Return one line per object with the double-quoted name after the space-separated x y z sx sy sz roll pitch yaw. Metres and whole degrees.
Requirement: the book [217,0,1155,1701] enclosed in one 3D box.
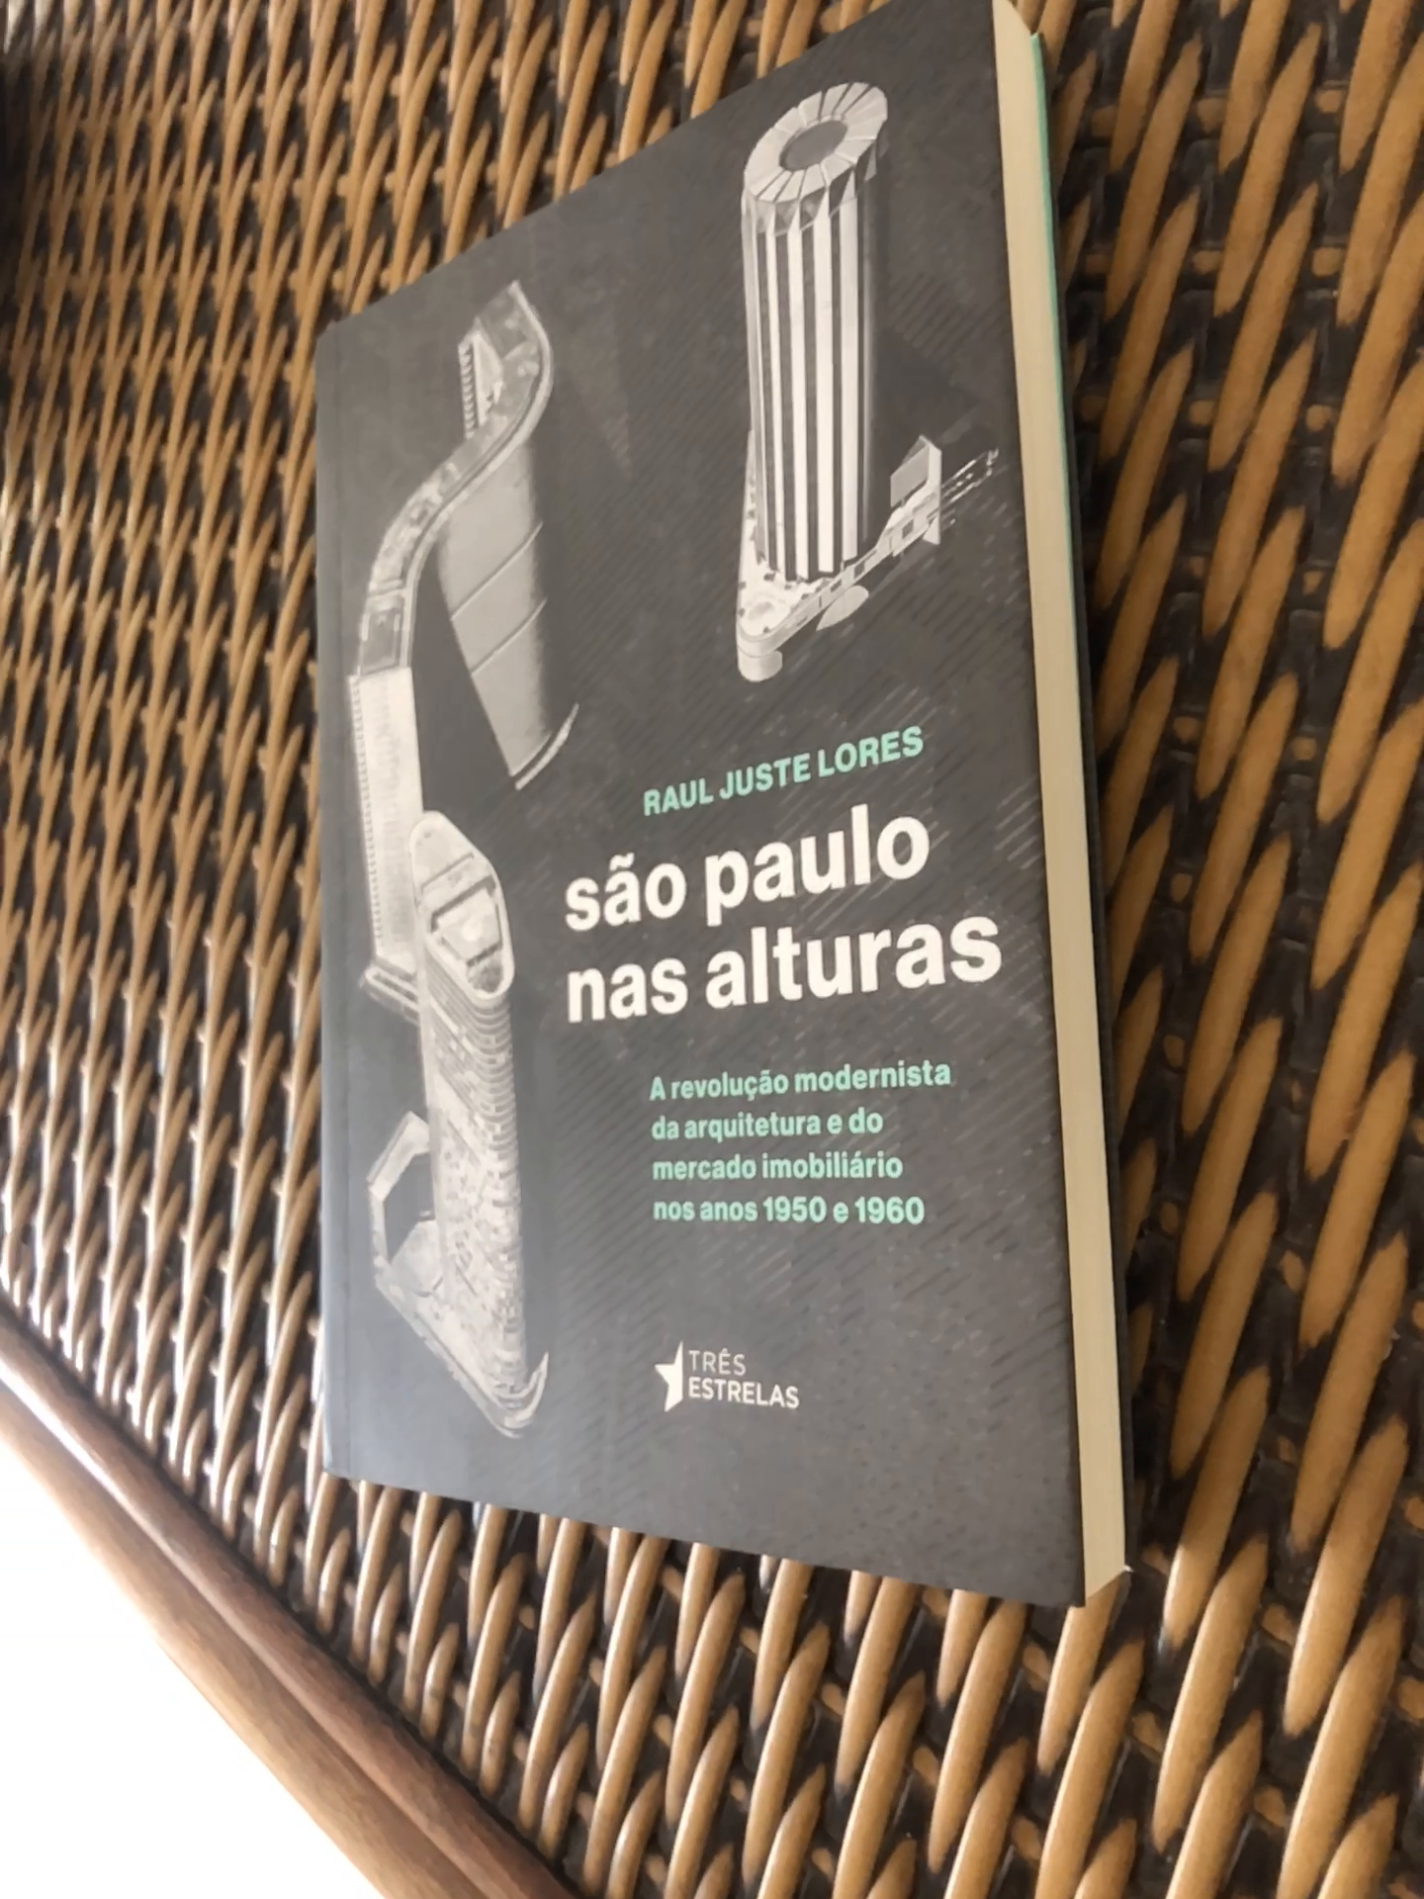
-0.017 -0.018 0.253 0.161 0.030 0.221 -4 86 40 "book"
